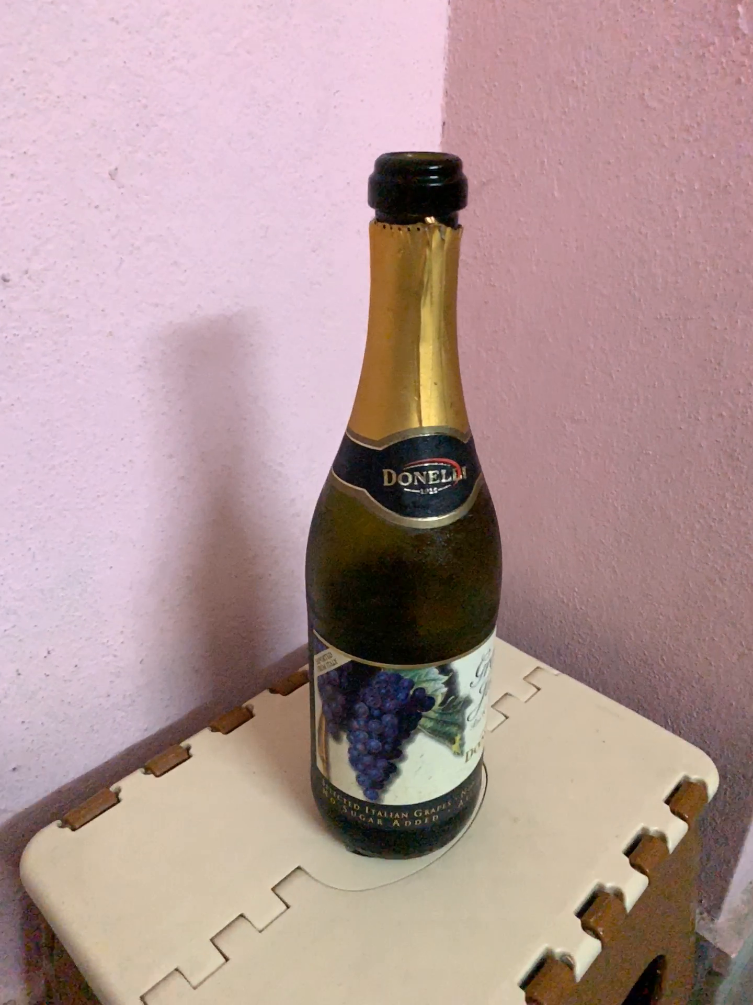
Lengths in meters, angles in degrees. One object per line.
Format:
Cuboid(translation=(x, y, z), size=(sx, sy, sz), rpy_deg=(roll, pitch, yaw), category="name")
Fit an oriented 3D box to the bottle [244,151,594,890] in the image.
Cuboid(translation=(0.006, 0.019, 0.302), size=(0.090, 0.279, 0.070), rpy_deg=(-6, 29, -13), category="bottle")
